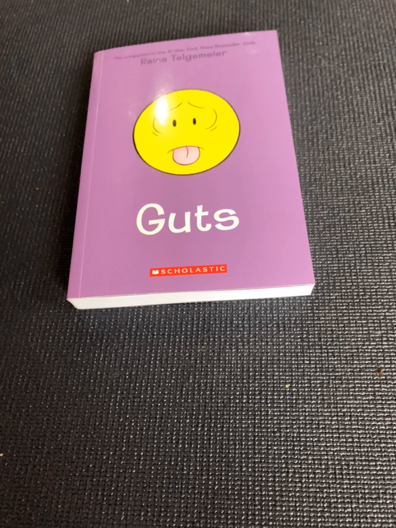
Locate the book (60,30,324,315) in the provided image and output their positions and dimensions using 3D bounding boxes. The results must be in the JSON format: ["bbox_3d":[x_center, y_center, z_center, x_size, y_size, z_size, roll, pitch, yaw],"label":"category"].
[{"bbox_3d":[-0.006,-0.070,0.294,0.143,0.024,0.202,-4,63,4],"label":"book"}]
